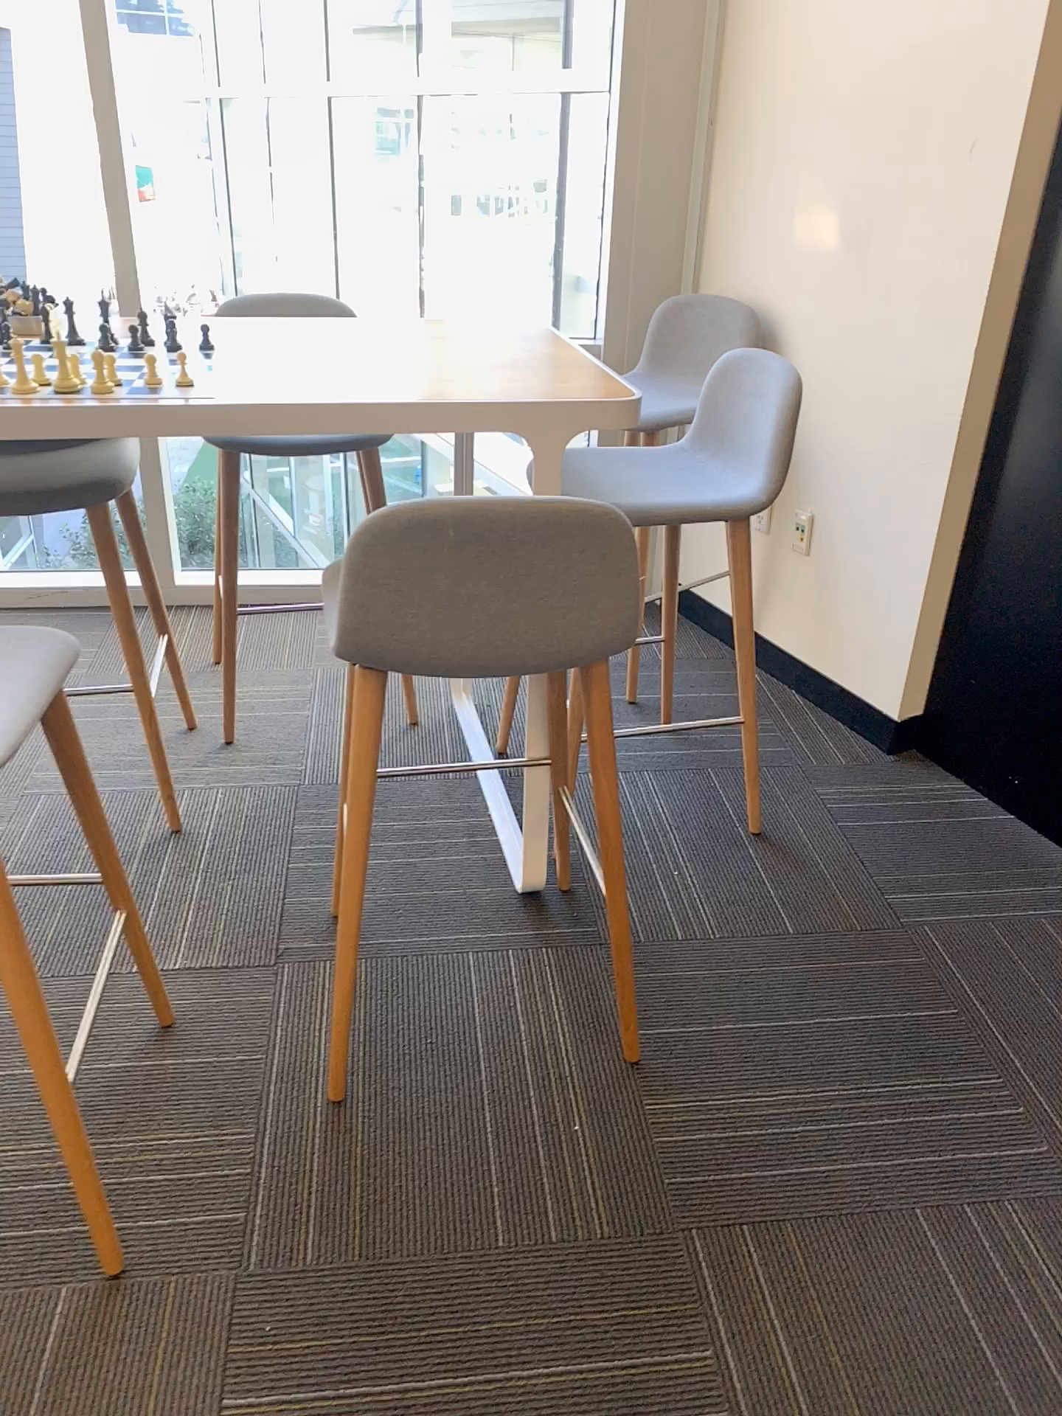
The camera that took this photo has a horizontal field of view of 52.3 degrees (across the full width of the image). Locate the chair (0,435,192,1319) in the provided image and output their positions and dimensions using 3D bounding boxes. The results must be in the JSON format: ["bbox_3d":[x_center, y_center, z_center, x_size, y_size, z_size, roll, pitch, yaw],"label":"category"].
[{"bbox_3d":[-0.811,0.196,1.368,0.550,0.934,0.553,0,28,-5],"label":"chair"}]

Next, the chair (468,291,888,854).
[{"bbox_3d":[0.227,-0.339,2.400,0.620,0.994,0.785,-3,28,-10],"label":"chair"}]

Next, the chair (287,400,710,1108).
[{"bbox_3d":[-0.101,0.049,1.713,0.500,0.934,0.553,-3,28,-11],"label":"chair"}]
